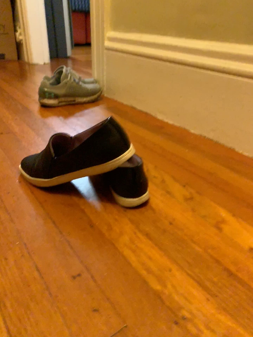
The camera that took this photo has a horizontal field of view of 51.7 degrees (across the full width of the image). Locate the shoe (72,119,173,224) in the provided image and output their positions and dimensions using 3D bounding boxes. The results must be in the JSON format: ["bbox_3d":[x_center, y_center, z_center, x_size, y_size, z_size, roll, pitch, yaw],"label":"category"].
[{"bbox_3d":[-0.026,-0.015,0.521,0.100,0.080,0.261,-11,32,-22],"label":"shoe"}]

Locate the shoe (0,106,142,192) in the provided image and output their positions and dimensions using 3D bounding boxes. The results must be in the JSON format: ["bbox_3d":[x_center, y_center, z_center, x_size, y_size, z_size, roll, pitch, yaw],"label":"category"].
[{"bbox_3d":[-0.113,-0.030,0.465,0.250,0.080,0.100,-9,22,27],"label":"shoe"}]
